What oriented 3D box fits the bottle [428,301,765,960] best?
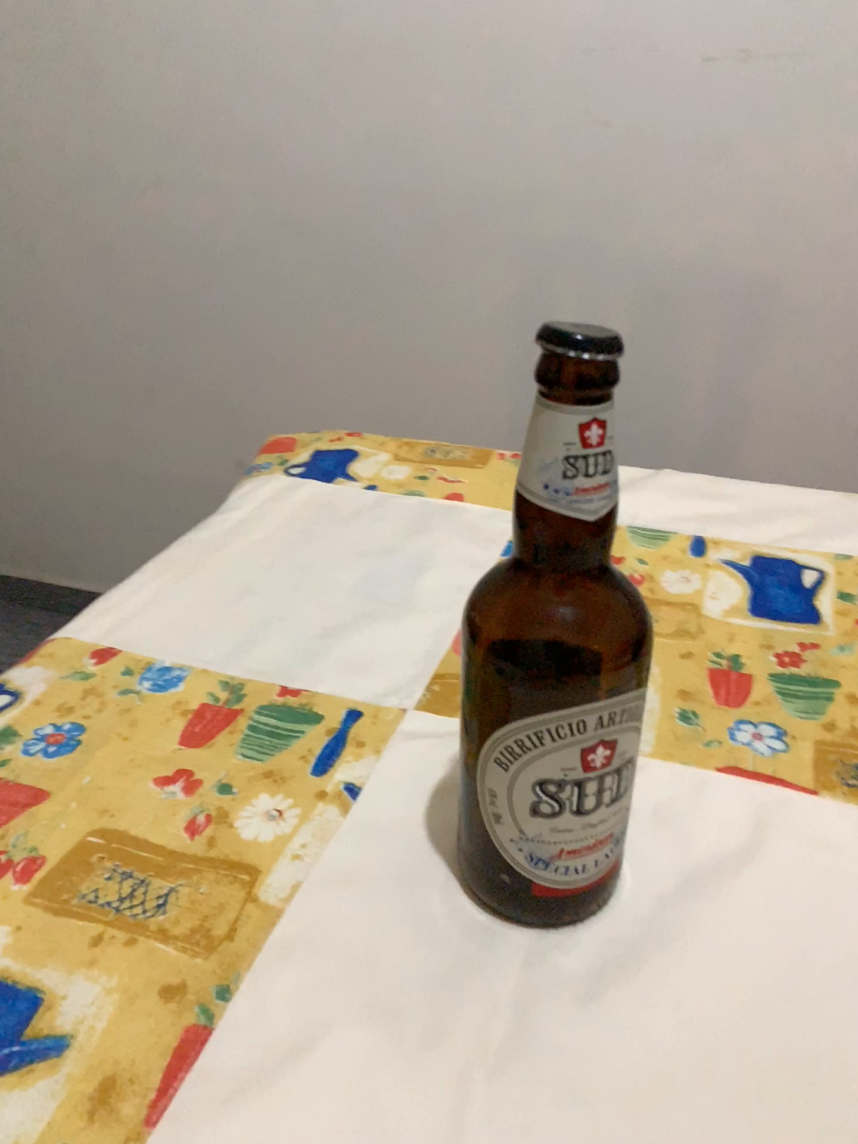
[{"bbox_3d":[0.052,0.028,0.340,0.080,0.239,0.070,-12,30,-22],"label":"bottle"}]
